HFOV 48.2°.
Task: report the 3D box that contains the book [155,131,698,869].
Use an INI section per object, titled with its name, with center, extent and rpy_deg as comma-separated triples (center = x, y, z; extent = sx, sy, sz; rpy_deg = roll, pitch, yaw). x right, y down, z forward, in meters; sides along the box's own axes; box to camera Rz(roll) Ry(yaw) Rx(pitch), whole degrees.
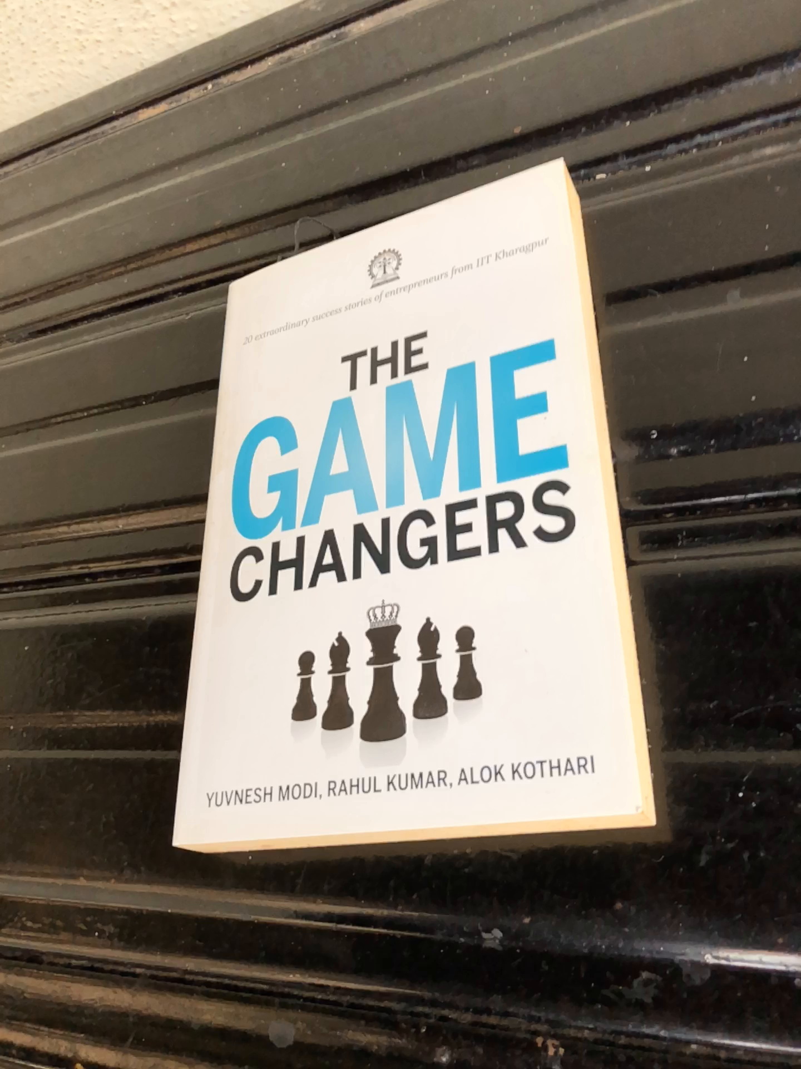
[book]
center = 0.002, -0.013, 0.276
extent = 0.140, 0.030, 0.210
rpy_deg = -13, 61, 24
